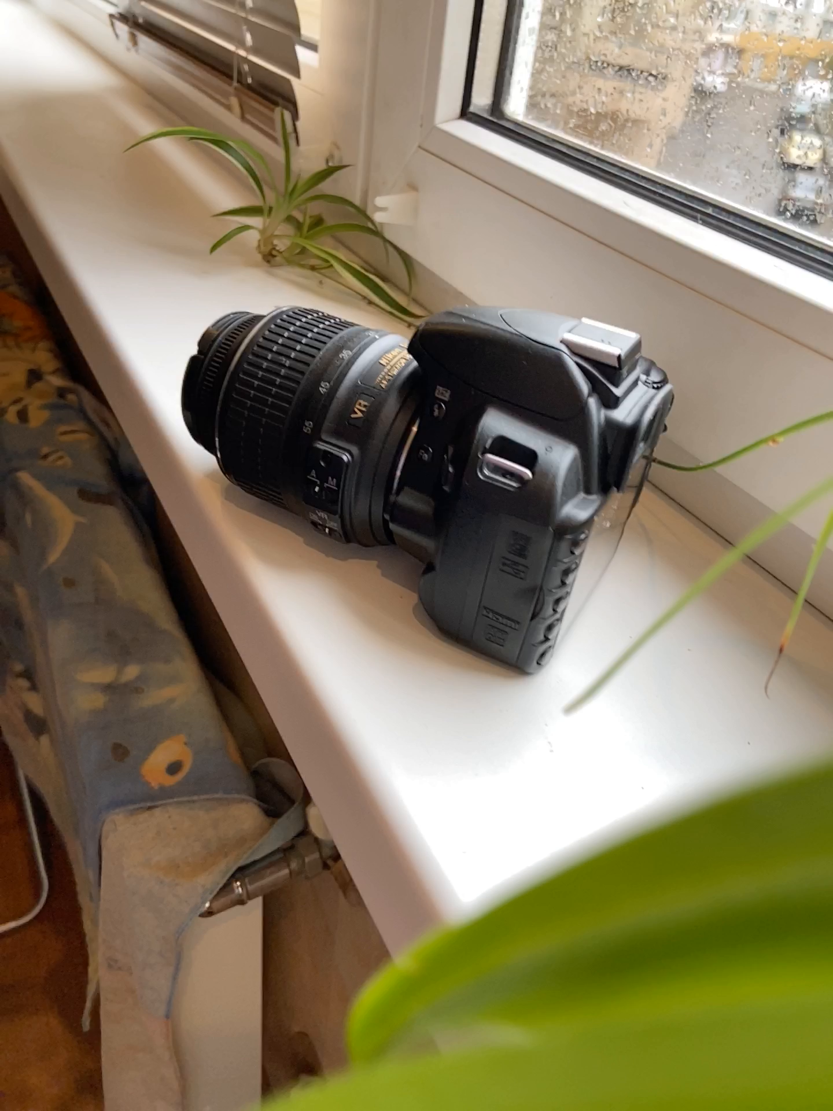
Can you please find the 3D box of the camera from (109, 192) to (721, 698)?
[{"bbox_3d":[0.001,-0.052,0.301,0.159,0.092,0.122,22,38,19],"label":"camera"}]
